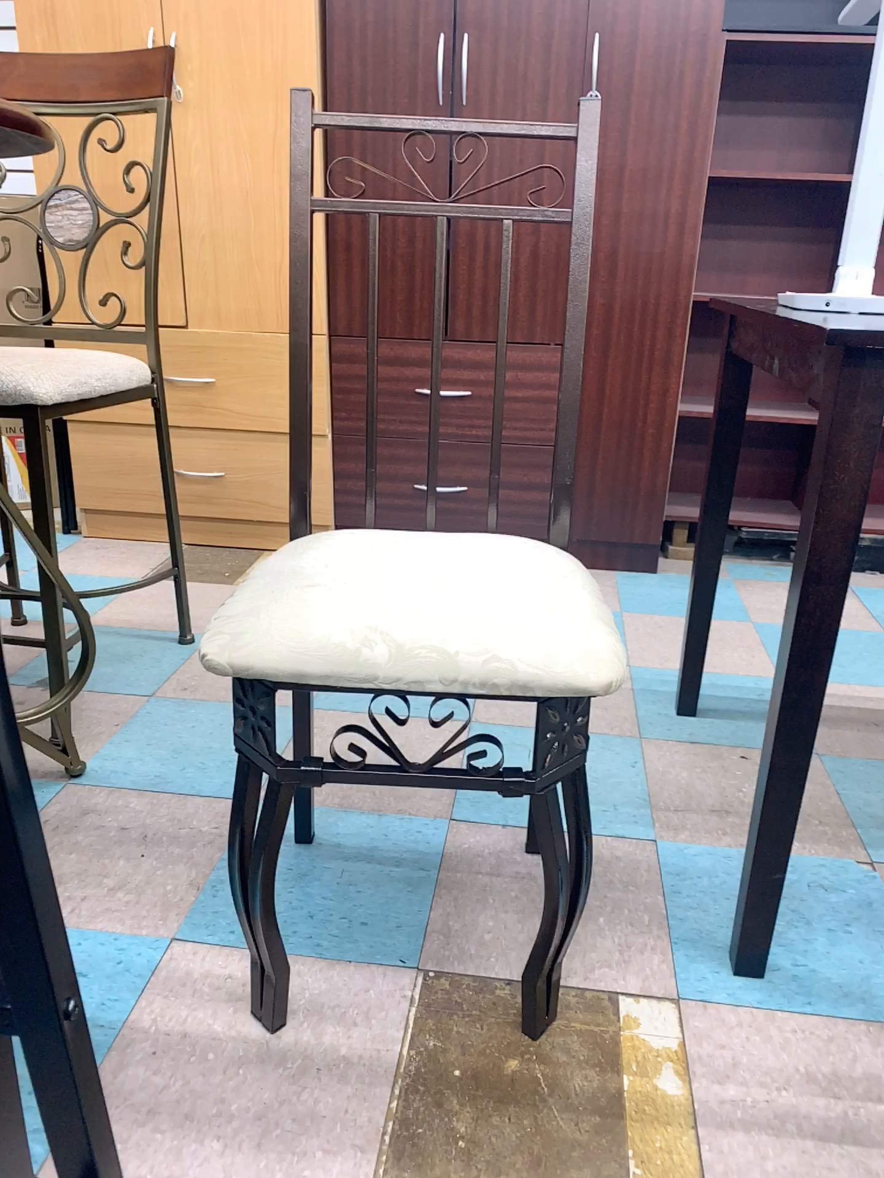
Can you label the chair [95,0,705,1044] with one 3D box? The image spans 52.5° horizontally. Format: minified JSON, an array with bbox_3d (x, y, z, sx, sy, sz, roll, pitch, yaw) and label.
[{"bbox_3d":[-0.035,-0.062,0.998,0.415,0.951,0.478,2,21,1],"label":"chair"}]
